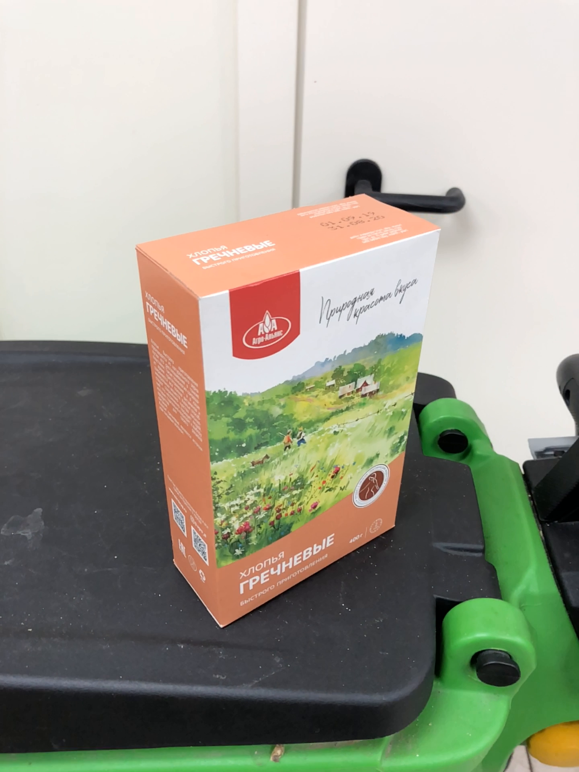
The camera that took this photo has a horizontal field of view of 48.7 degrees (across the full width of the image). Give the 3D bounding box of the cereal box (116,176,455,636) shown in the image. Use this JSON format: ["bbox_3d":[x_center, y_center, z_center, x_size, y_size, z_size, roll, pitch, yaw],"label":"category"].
[{"bbox_3d":[-0.002,0.012,0.339,0.140,0.209,0.060,-21,41,-30],"label":"cereal box"}]
